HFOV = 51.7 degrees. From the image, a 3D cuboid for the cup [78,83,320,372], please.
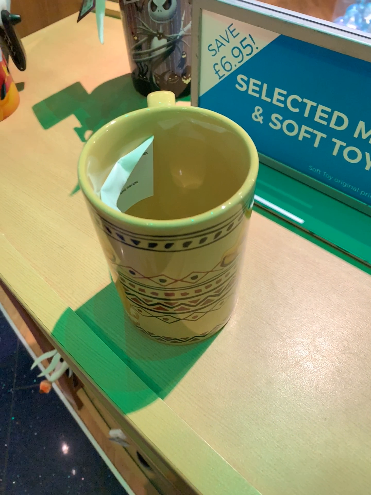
[{"bbox_3d":[-0.005,-0.011,0.239,0.100,0.121,0.120,-7,53,-8],"label":"cup"}]
